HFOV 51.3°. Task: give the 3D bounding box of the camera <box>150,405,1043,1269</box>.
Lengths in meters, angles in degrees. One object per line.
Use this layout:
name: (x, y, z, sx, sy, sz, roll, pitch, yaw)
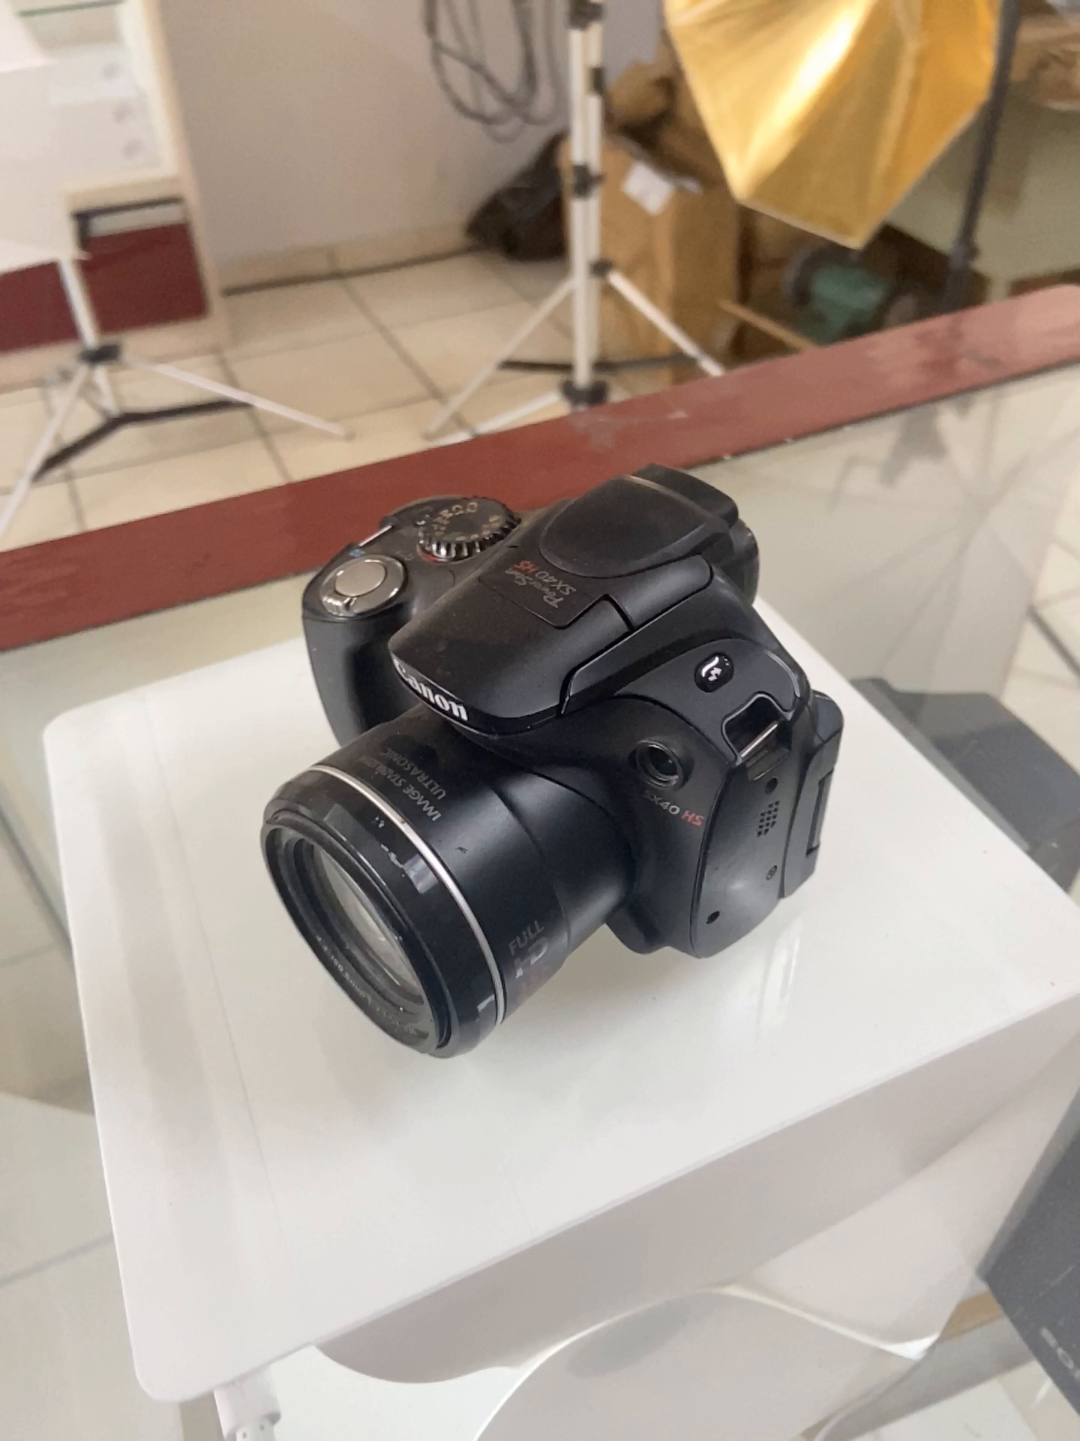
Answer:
camera: (0.016, 0.012, 0.259, 0.120, 0.089, 0.141, 30, 51, 30)
